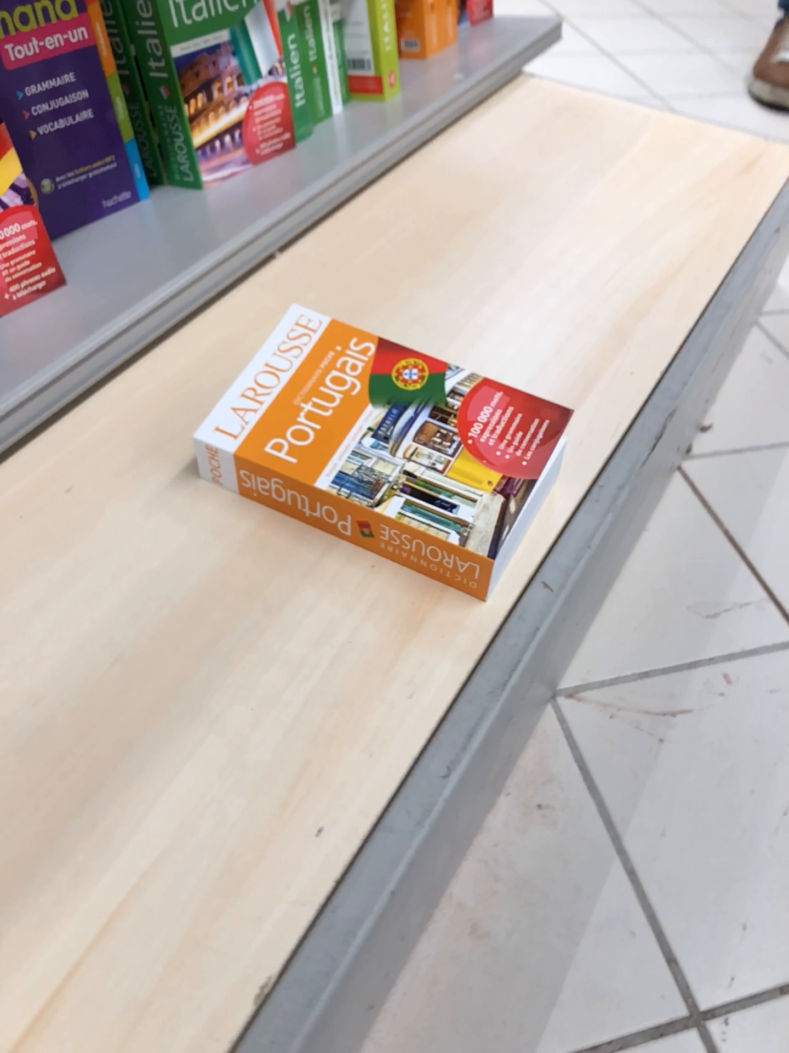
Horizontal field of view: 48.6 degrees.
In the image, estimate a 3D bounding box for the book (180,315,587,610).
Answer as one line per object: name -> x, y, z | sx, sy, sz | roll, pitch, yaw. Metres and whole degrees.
book -> -0.004, -0.043, 0.484 | 0.185, 0.046, 0.118 | 21, 47, 15
